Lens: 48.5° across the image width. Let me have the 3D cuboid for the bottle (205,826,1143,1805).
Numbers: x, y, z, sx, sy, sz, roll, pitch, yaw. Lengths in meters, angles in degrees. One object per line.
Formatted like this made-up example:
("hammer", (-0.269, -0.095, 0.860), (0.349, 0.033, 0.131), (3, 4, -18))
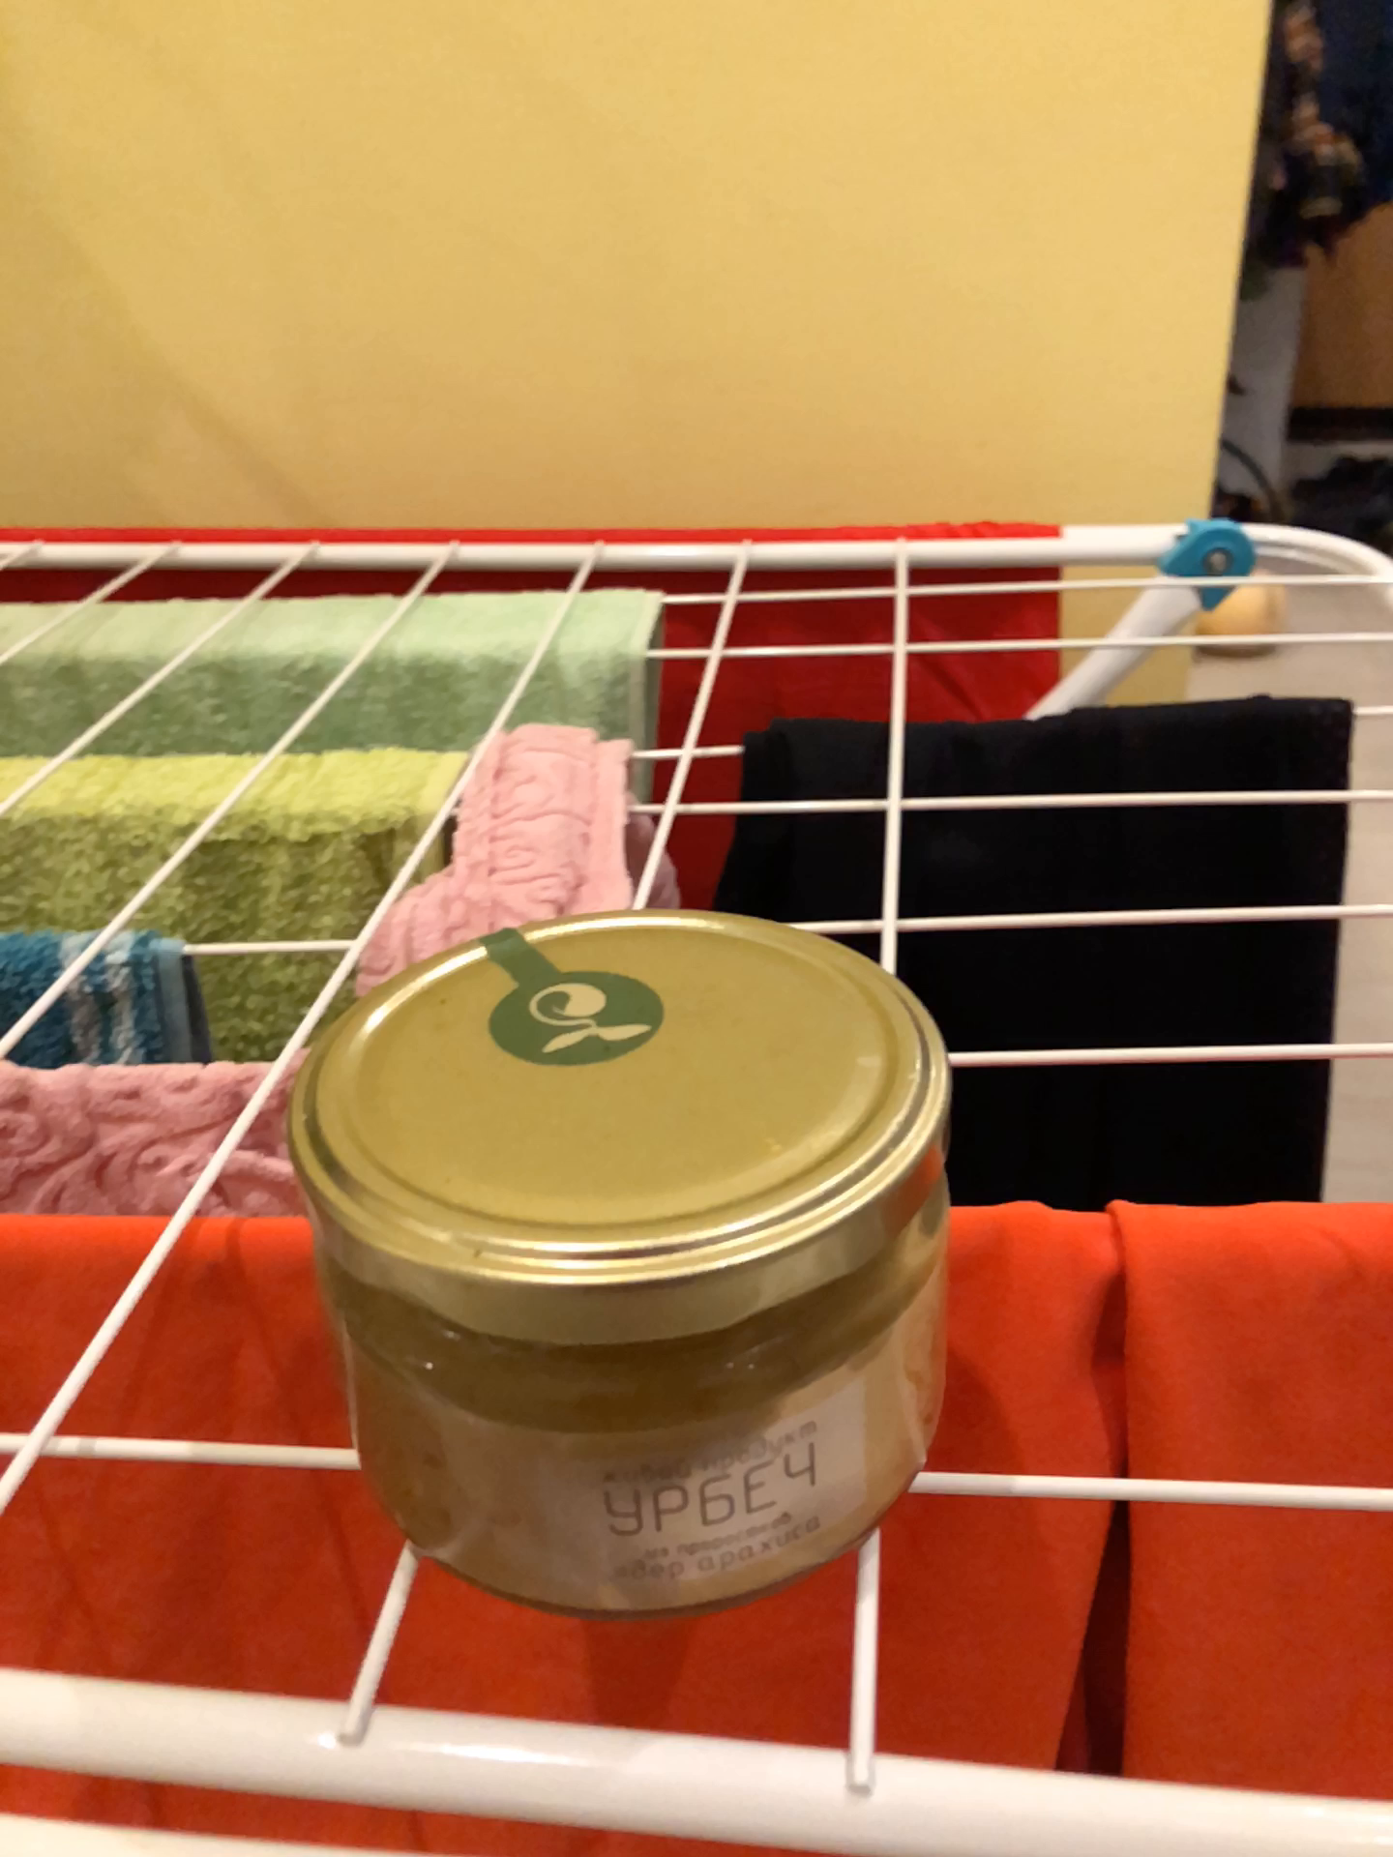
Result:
("bottle", (-0.009, 0.039, 0.203), (0.090, 0.060, 0.091), (-2, 29, 1))
